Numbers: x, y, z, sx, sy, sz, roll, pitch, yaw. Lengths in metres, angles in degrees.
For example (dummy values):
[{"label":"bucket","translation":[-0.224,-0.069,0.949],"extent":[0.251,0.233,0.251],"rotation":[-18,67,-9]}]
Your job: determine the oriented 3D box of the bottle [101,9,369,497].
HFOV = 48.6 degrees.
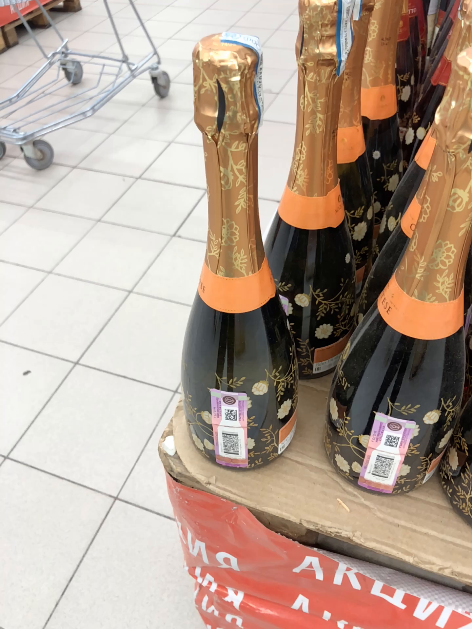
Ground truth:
[{"label":"bottle","translation":[0.013,-0.005,0.342],"extent":[0.100,0.318,0.101],"rotation":[-2,45,2]}]
